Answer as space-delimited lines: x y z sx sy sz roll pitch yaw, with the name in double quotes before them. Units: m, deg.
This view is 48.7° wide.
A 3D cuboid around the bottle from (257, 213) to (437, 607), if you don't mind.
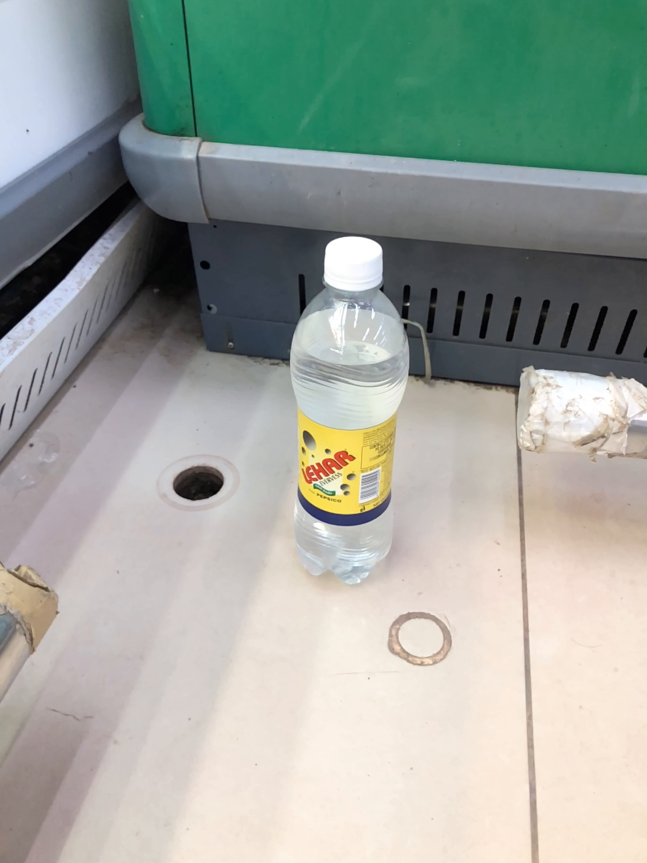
"bottle" 0.013 -0.004 0.434 0.070 0.228 0.071 0 38 0
